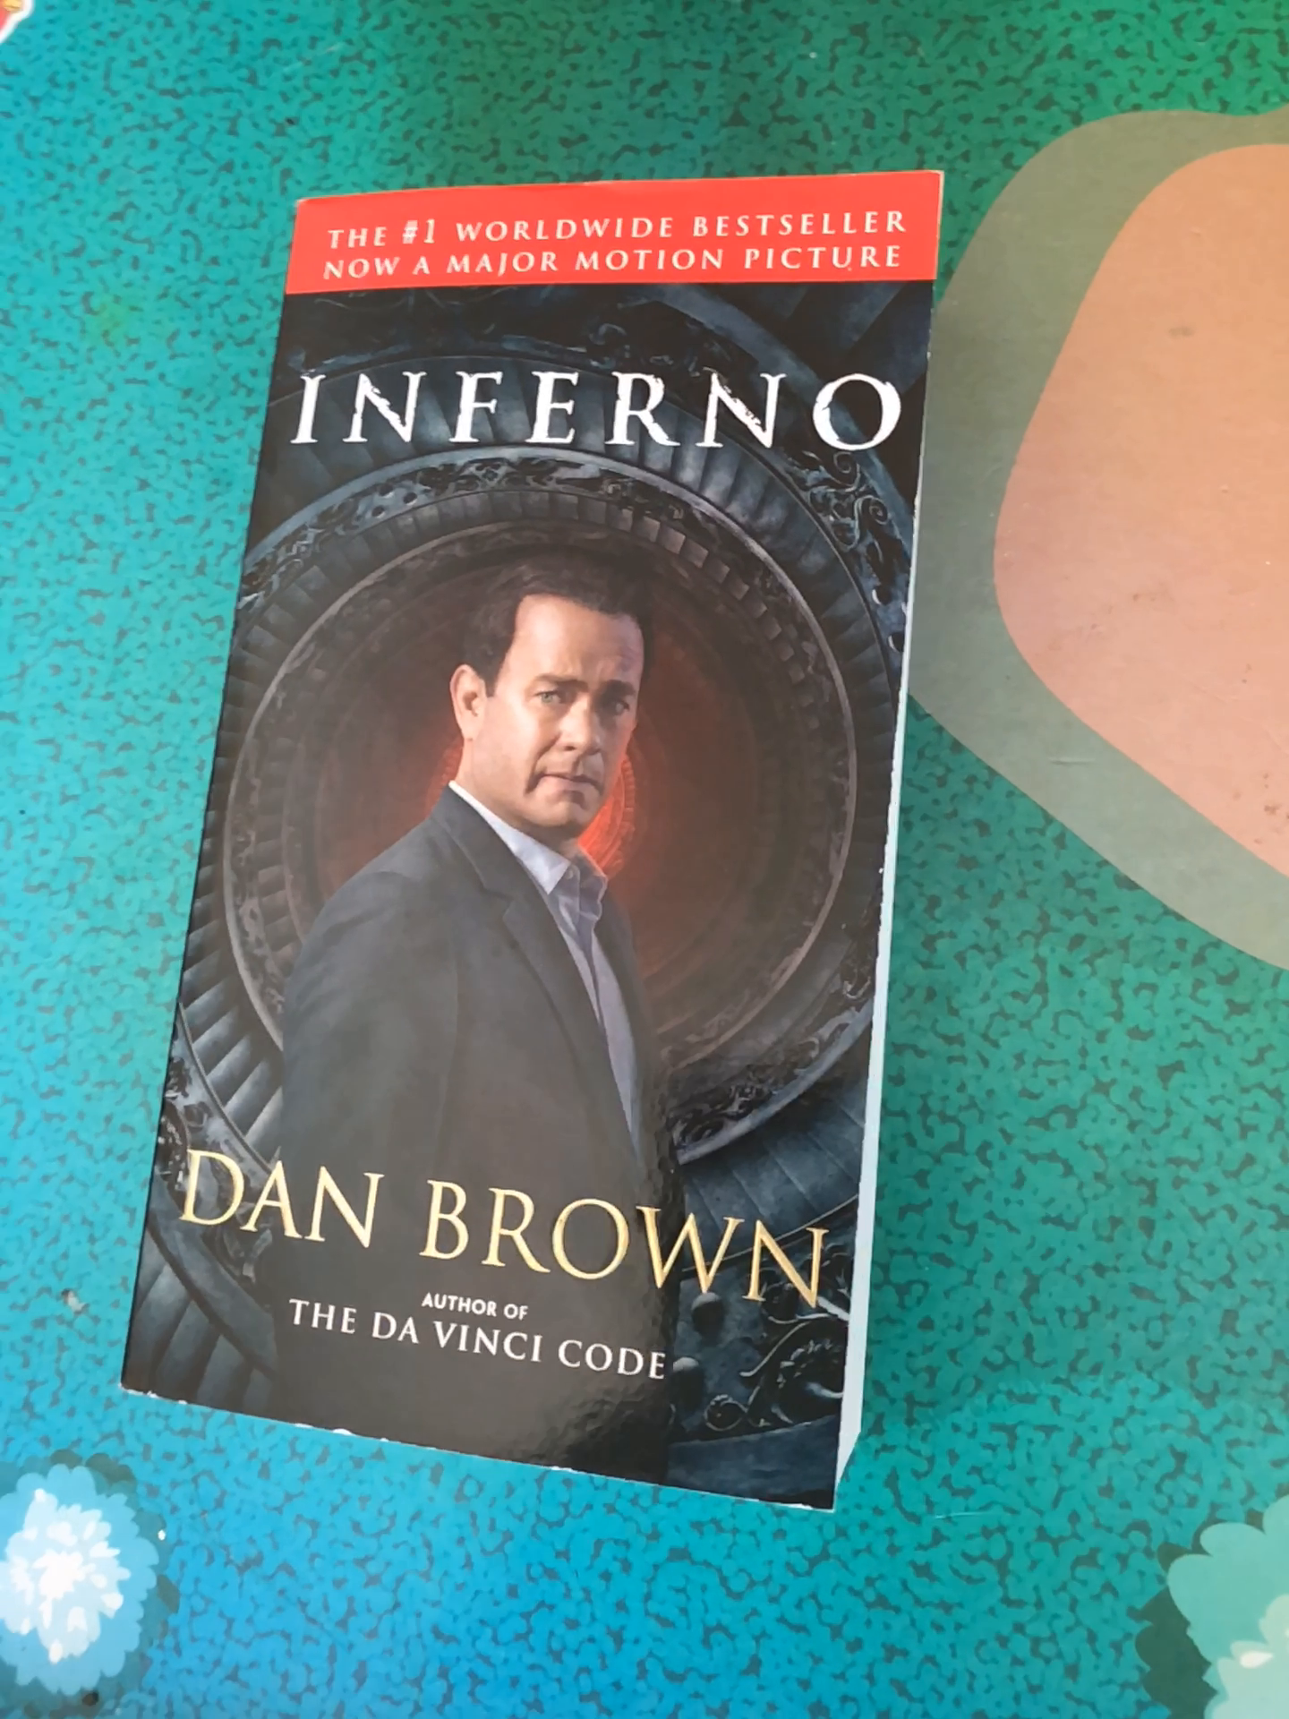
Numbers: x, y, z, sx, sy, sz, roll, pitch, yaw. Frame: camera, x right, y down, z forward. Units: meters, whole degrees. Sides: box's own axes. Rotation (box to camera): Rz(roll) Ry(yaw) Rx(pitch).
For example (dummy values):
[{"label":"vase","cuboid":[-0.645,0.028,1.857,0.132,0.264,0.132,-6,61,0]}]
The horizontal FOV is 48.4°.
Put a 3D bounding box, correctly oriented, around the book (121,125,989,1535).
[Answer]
[{"label":"book","cuboid":[-0.007,-0.010,0.240,0.110,0.060,0.200,4,83,11]}]
